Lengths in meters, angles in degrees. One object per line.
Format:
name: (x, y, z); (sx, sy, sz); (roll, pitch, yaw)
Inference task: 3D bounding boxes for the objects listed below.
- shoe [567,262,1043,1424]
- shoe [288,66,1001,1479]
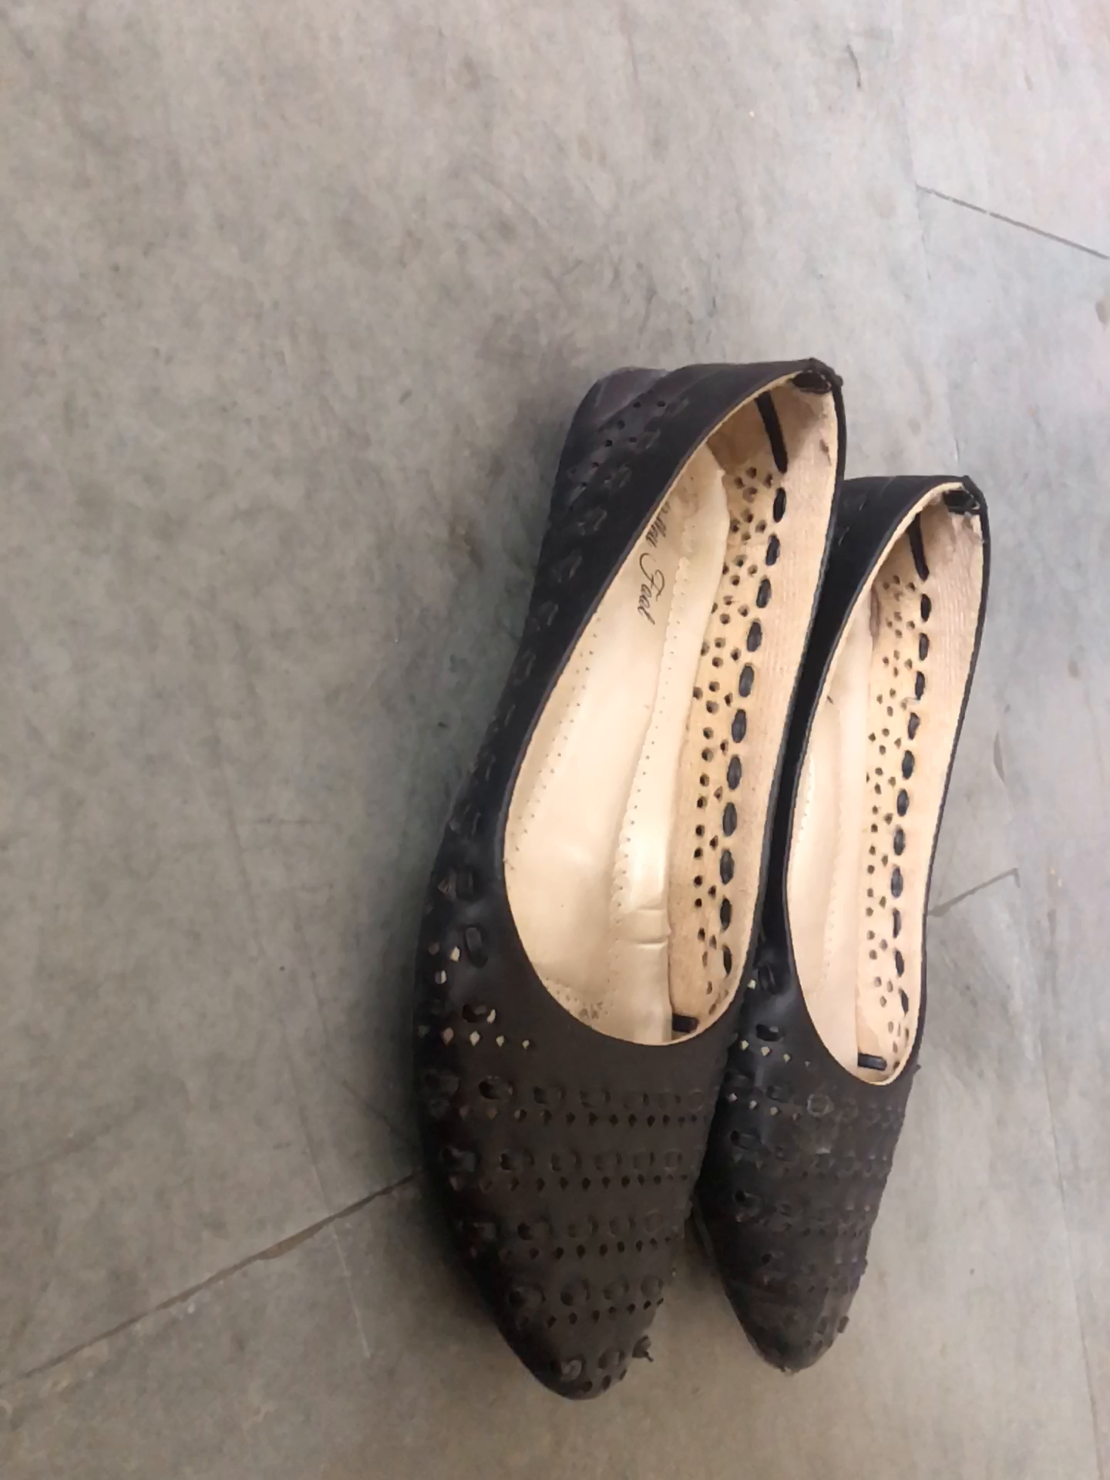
shoe: (0.080, 0.024, 0.350); (0.101, 0.070, 0.280); (22, 69, -43)
shoe: (0.031, 0.007, 0.283); (0.101, 0.070, 0.270); (22, 75, -43)
